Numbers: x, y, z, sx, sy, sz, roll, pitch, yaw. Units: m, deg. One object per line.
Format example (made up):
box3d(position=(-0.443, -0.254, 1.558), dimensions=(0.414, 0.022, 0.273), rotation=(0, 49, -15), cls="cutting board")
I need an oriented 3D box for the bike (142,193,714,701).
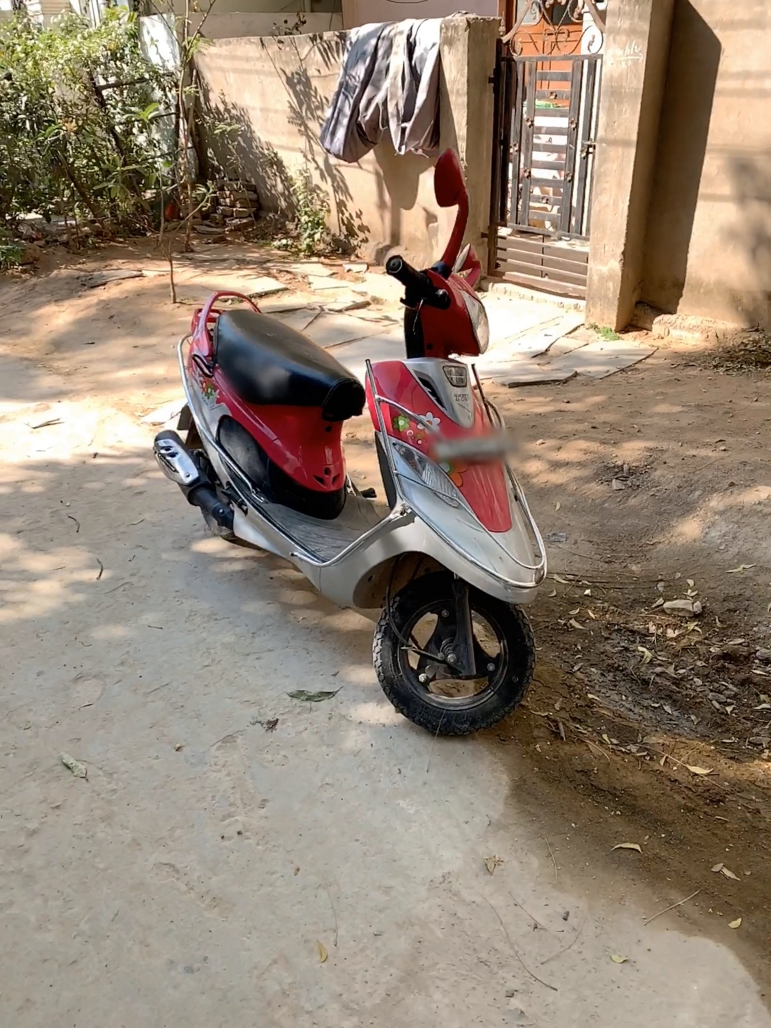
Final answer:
box3d(position=(-0.011, -0.310, 2.261), dimensions=(0.485, 1.037, 1.498), rotation=(-25, 36, -35), cls="bike")
